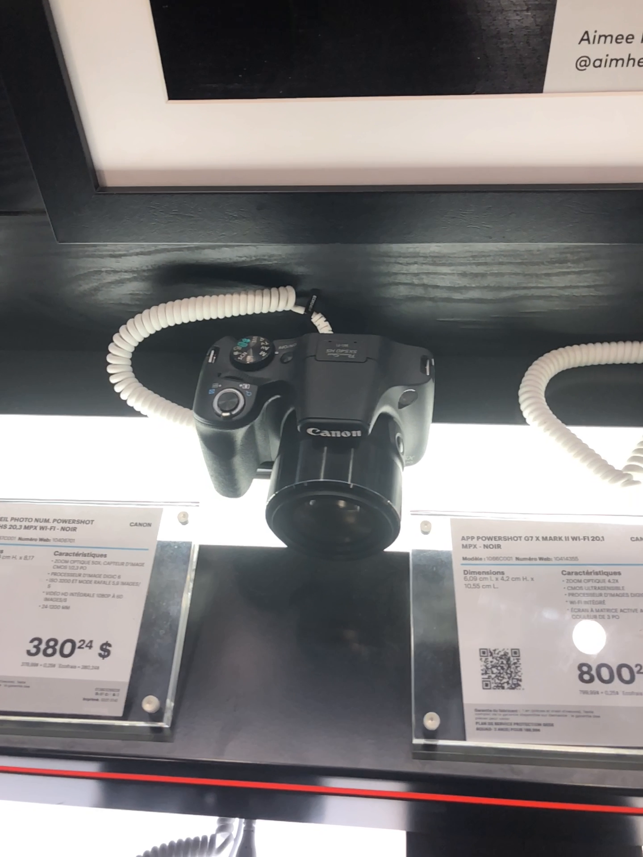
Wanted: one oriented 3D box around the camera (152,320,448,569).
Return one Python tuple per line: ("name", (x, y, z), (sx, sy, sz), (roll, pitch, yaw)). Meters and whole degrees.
("camera", (-0.005, 0.009, 0.351), (0.122, 0.099, 0.071), (1, 43, 5))
